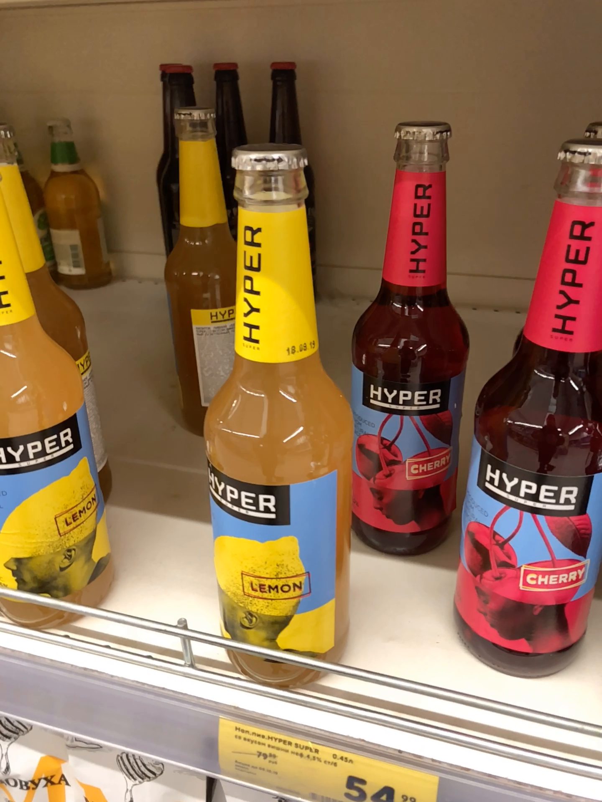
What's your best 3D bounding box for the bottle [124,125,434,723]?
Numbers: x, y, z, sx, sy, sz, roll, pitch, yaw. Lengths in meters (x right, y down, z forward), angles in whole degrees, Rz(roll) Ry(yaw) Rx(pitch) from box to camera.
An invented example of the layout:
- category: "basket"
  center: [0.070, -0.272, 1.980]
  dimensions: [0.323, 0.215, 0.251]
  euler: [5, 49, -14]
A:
- category: "bottle"
  center: [-0.004, 0.011, 0.293]
  dimensions: [0.080, 0.239, 0.080]
  euler: [-1, 26, 1]
